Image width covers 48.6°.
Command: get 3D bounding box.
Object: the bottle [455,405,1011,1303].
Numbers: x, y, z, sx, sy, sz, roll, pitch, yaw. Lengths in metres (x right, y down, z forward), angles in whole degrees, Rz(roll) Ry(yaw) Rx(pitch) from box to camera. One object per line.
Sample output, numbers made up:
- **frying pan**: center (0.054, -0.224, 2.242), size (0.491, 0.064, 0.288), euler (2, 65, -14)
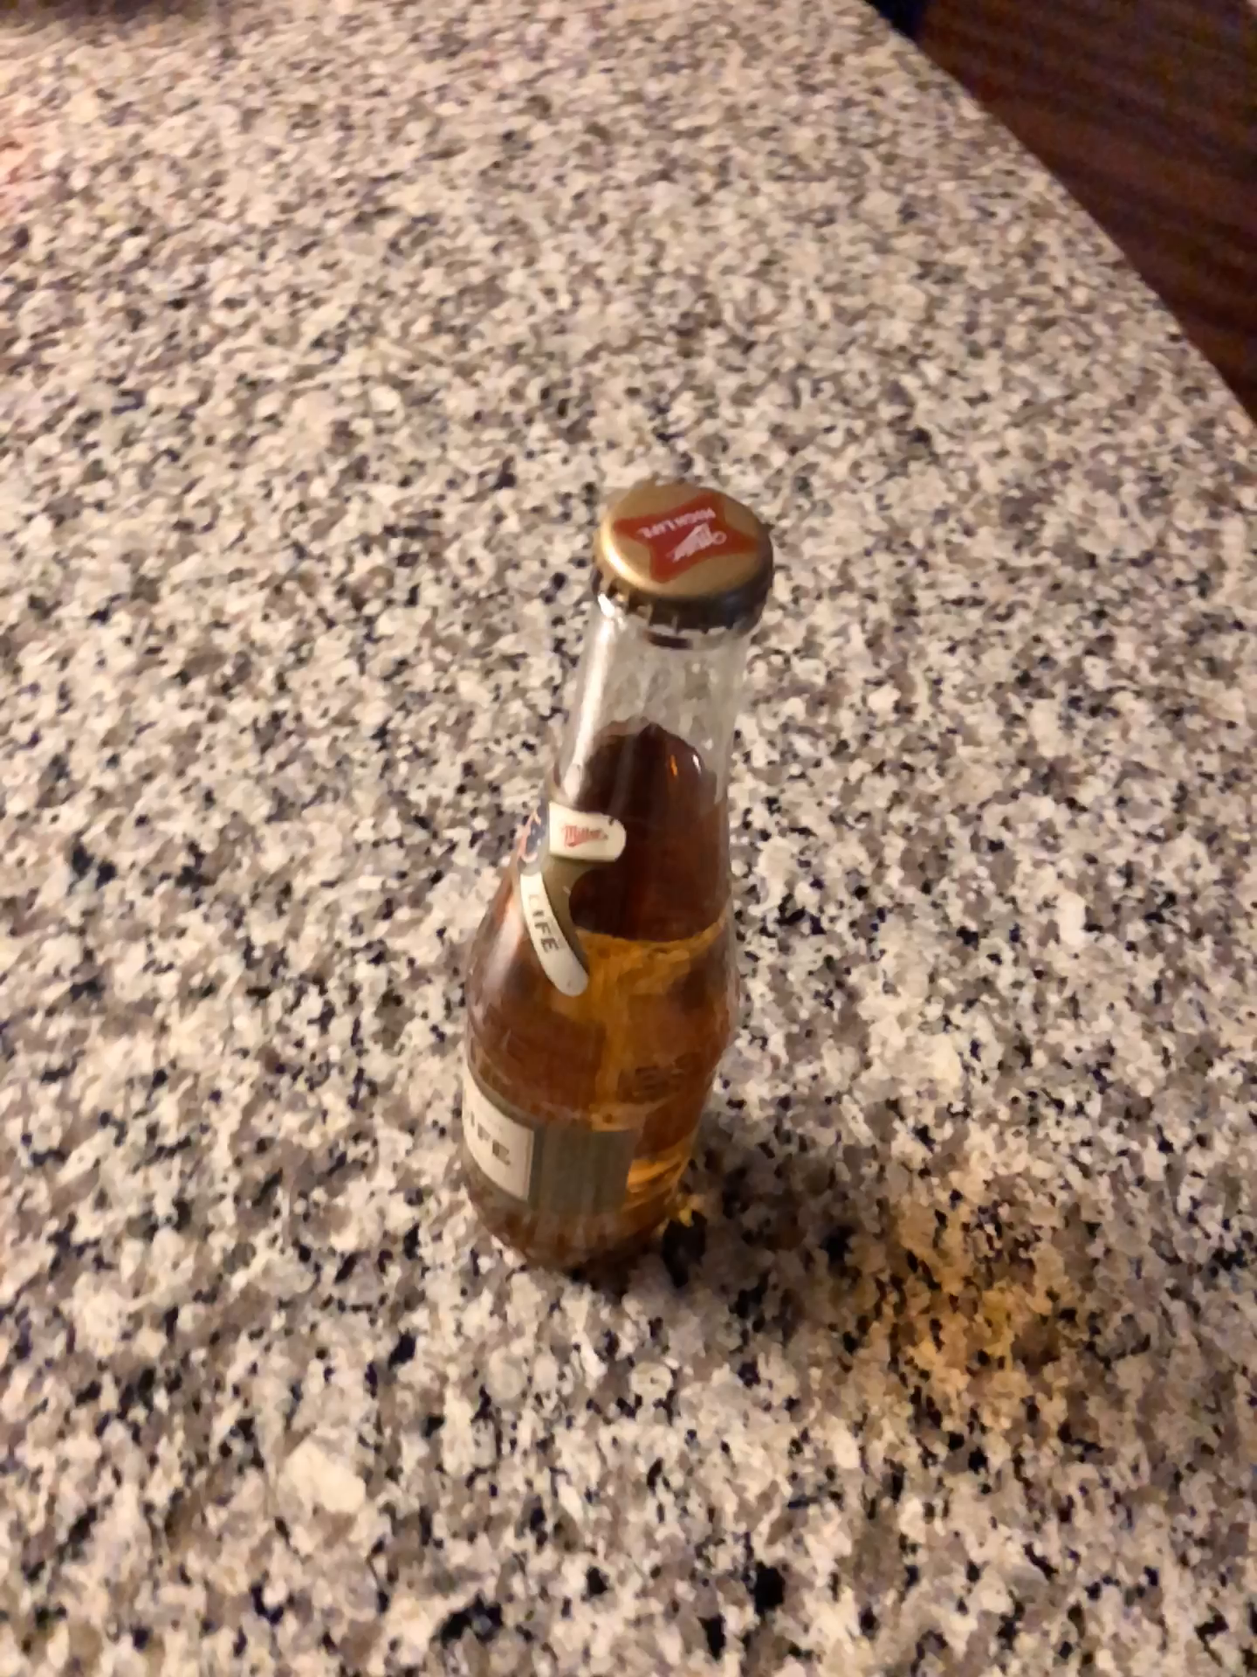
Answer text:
- **bottle**: center (0.002, 0.025, 0.291), size (0.070, 0.229, 0.060), euler (-4, 54, -10)
